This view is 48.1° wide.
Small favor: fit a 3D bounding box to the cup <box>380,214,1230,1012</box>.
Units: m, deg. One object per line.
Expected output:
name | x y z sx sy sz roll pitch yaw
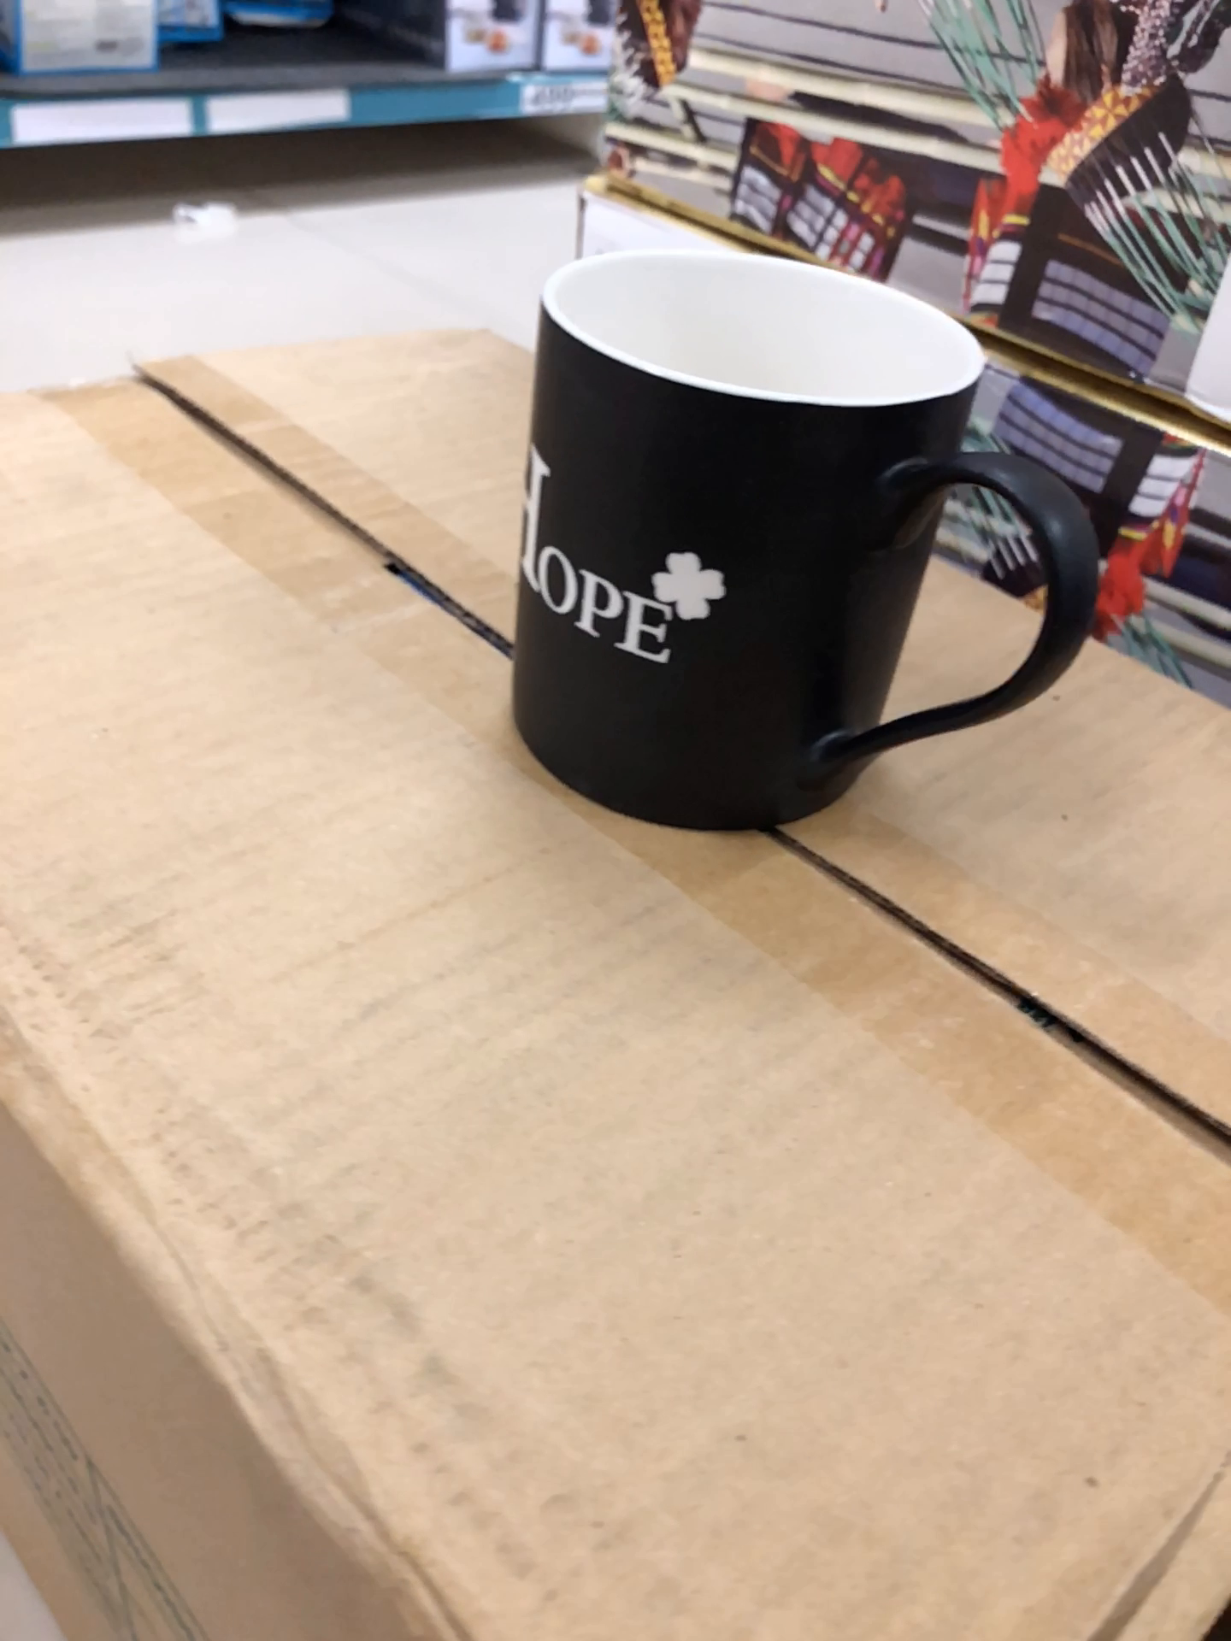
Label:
cup | 0.029 -0.049 0.267 0.120 0.089 0.091 34 44 30
